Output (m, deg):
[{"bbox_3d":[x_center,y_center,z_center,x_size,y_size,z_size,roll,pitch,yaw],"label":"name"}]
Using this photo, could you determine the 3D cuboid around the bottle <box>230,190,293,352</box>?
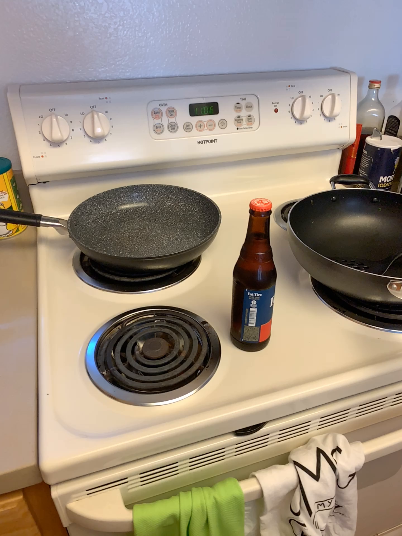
[{"bbox_3d":[0.073,0.012,0.547,0.060,0.219,0.060,0,34,0],"label":"bottle"}]
